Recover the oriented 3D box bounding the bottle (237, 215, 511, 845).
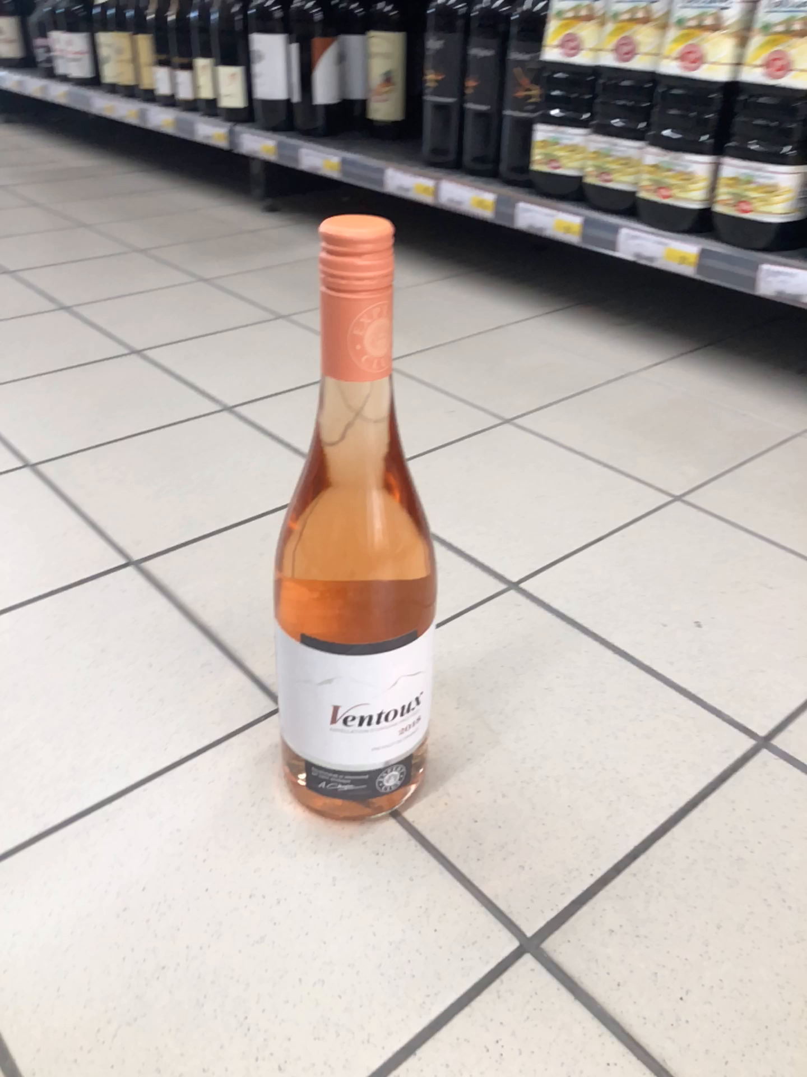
[{"bbox_3d":[-0.017,0.006,0.408,0.090,0.278,0.080,-6,32,-12],"label":"bottle"}]
